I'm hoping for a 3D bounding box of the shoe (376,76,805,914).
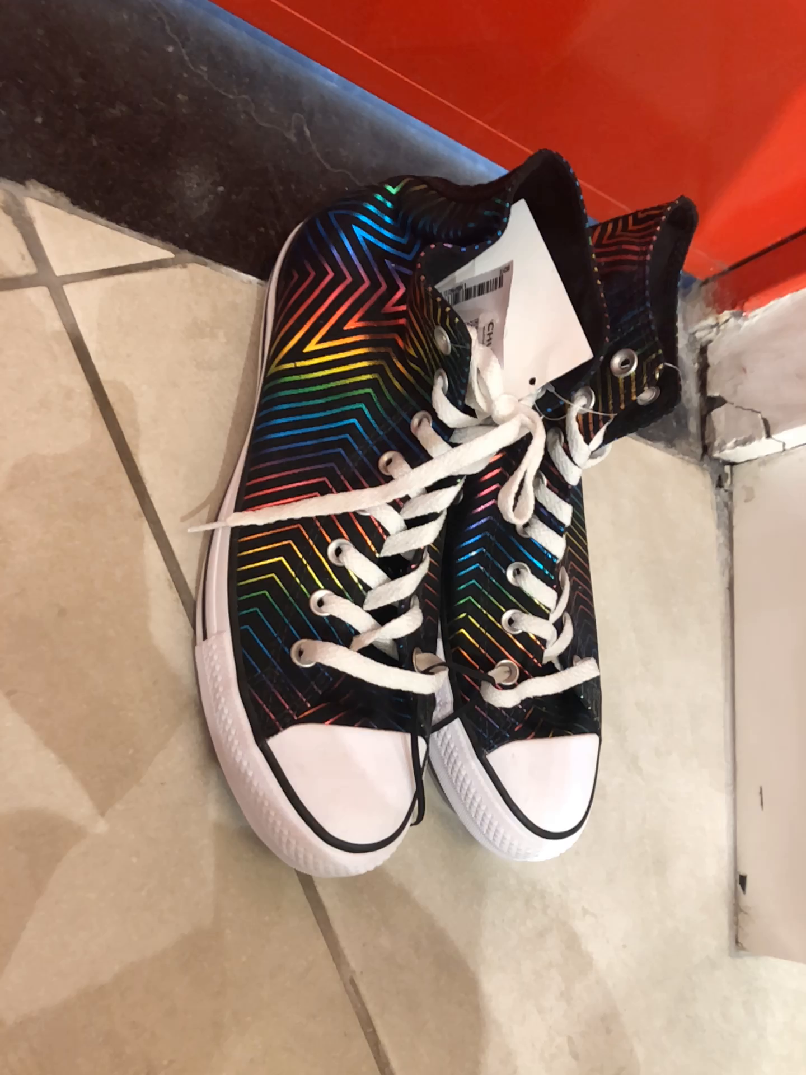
[{"bbox_3d":[0.074,-0.012,0.405,0.111,0.139,0.310,7,75,-33],"label":"shoe"}]

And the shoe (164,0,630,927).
[{"bbox_3d":[-0.006,-0.026,0.361,0.110,0.139,0.310,10,73,-32],"label":"shoe"}]
